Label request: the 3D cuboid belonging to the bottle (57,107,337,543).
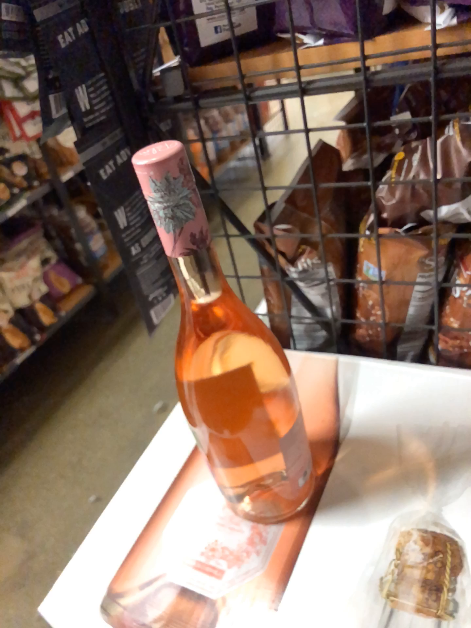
[{"bbox_3d":[-0.004,0.022,0.362,0.090,0.285,0.087,-10,33,7],"label":"bottle"}]
